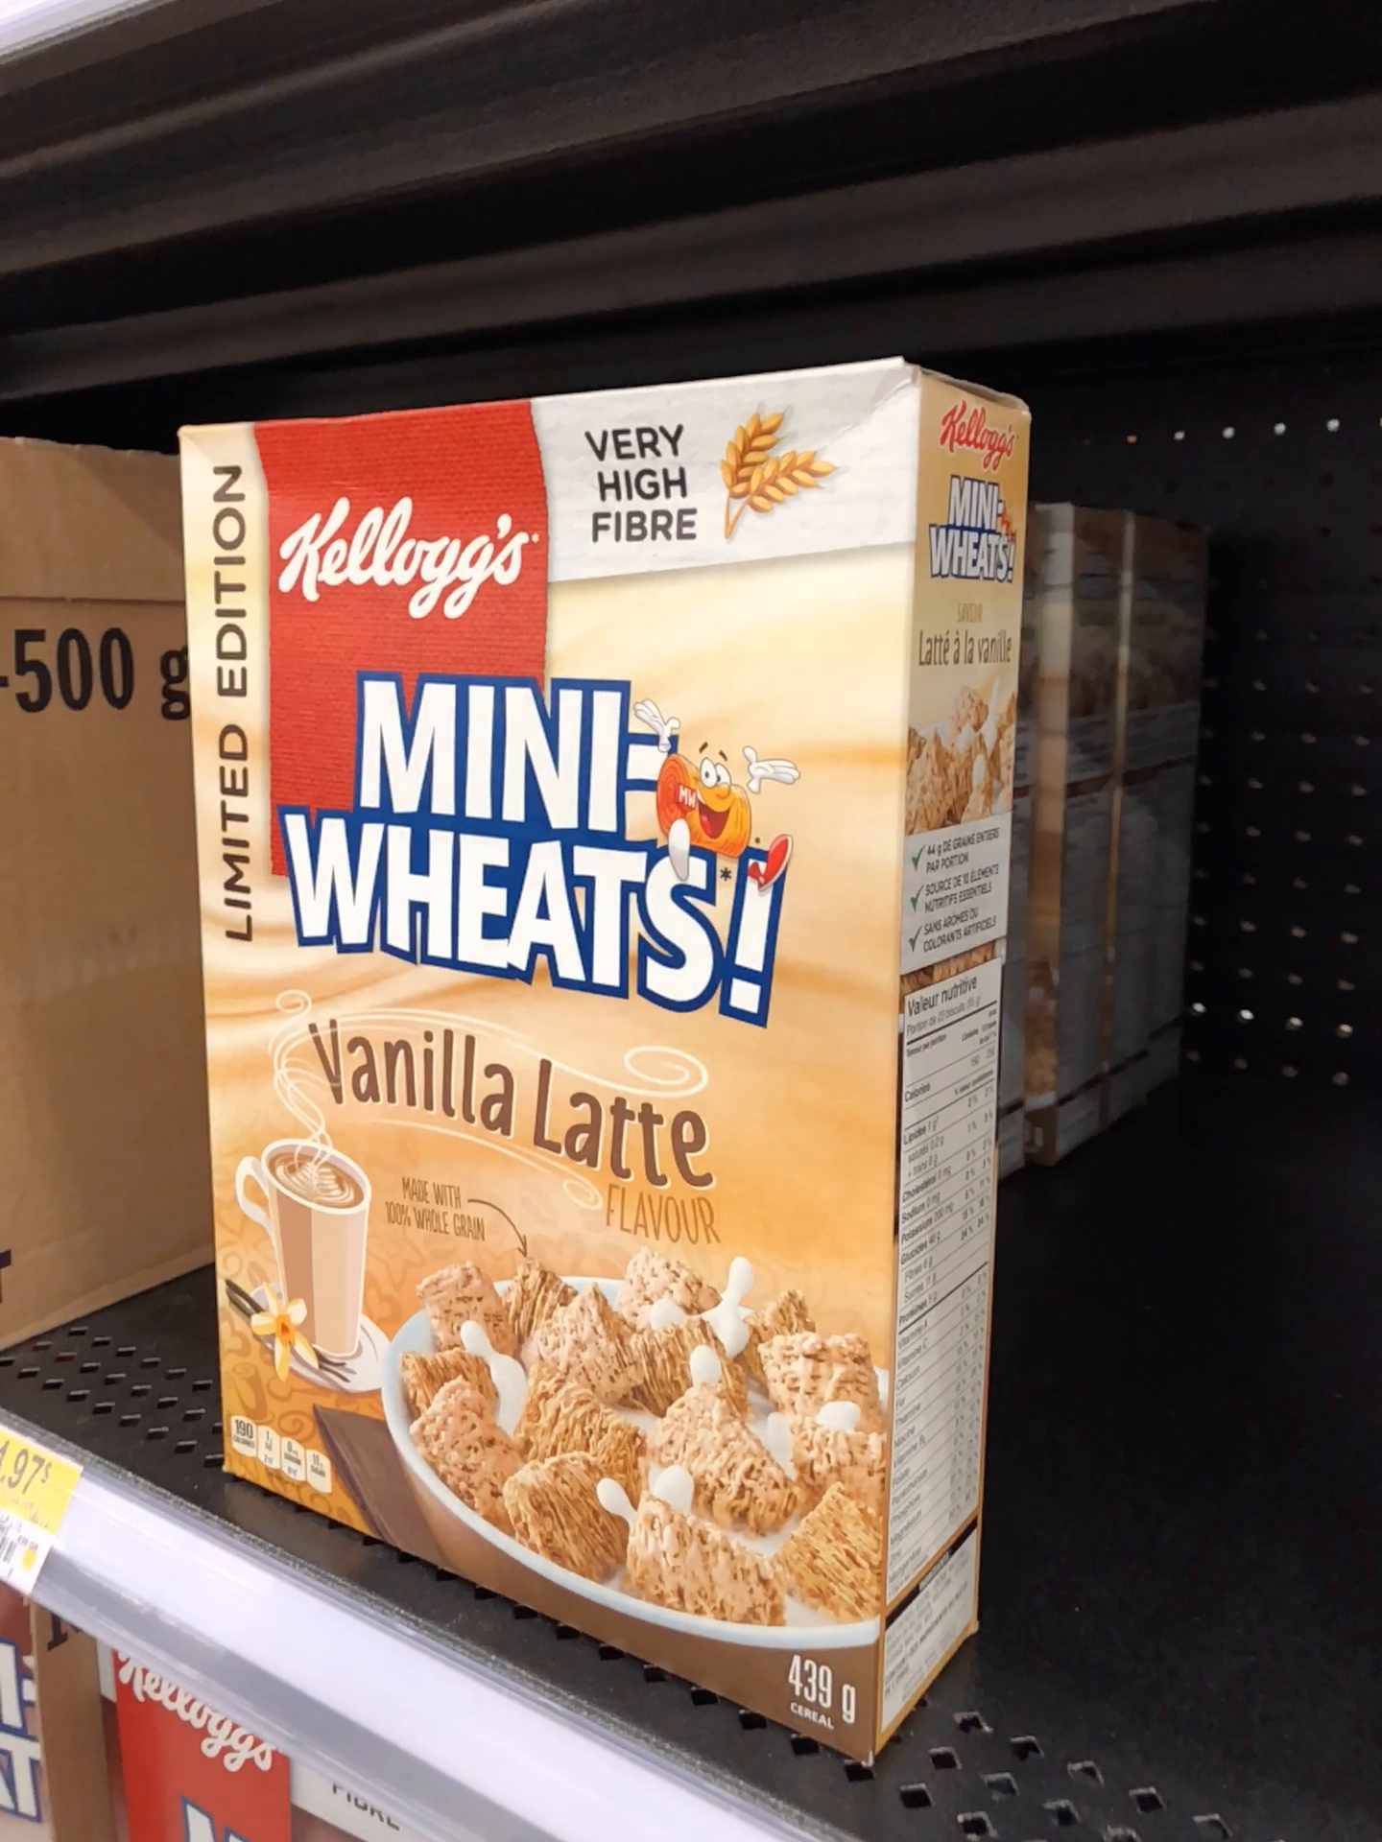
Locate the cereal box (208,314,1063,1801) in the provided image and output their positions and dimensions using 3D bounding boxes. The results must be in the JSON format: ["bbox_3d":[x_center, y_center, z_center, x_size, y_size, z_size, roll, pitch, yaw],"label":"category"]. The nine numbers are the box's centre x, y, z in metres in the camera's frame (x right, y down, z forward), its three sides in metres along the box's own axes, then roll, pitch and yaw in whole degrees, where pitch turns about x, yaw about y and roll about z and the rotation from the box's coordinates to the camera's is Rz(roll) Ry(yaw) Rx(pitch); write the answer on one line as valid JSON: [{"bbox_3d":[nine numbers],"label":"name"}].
[{"bbox_3d":[-0.021,0.021,0.358,0.190,0.279,0.060,7,11,34],"label":"cereal box"}]
